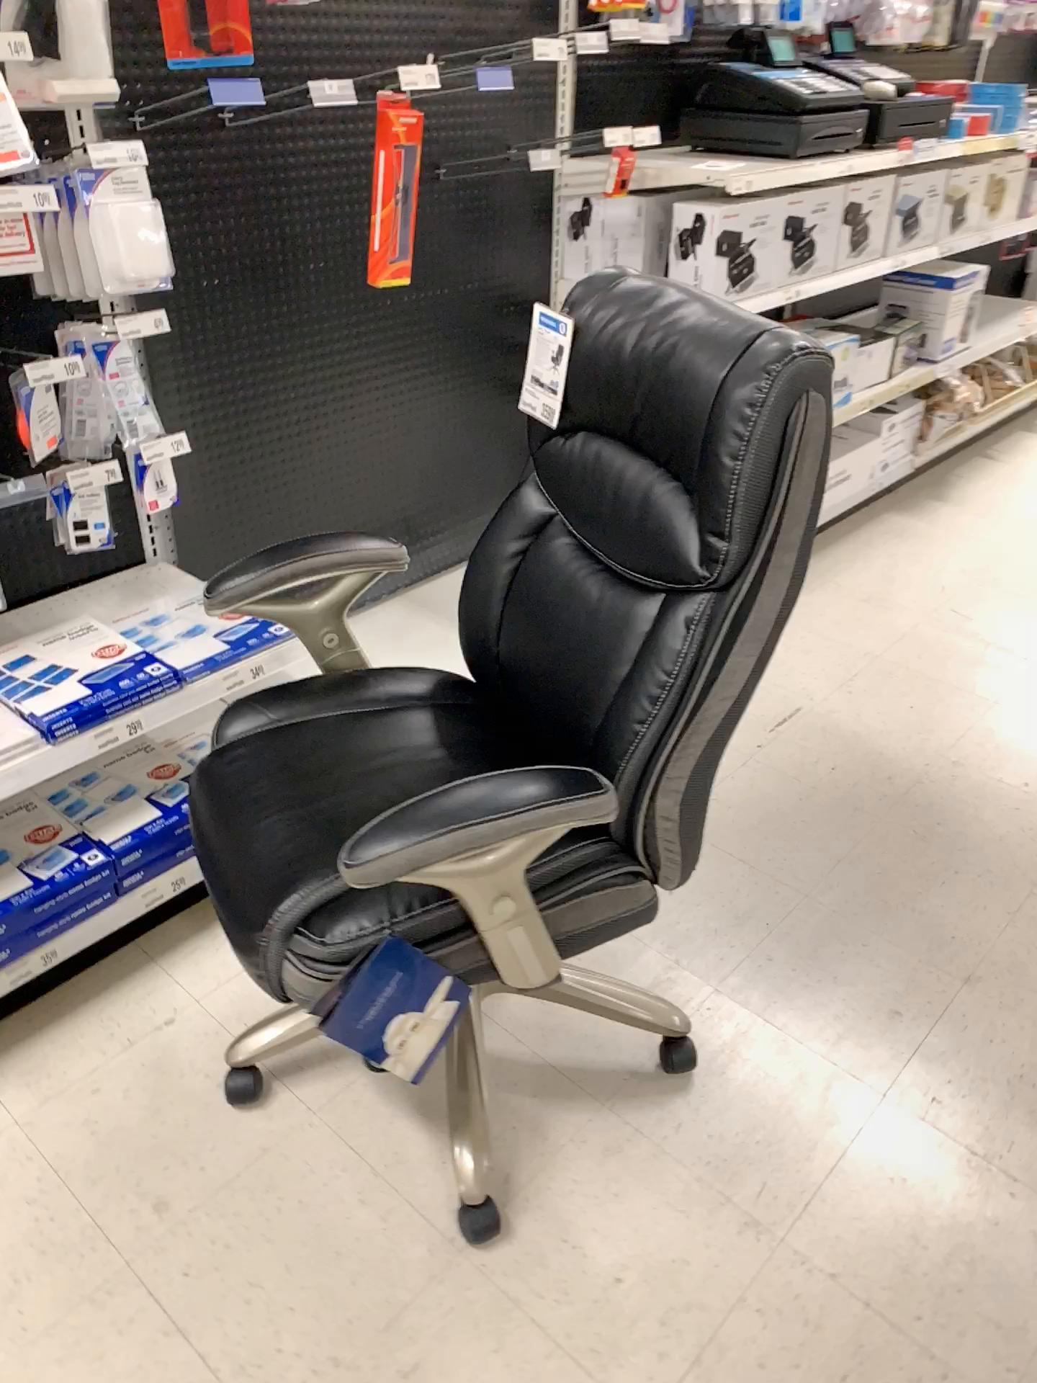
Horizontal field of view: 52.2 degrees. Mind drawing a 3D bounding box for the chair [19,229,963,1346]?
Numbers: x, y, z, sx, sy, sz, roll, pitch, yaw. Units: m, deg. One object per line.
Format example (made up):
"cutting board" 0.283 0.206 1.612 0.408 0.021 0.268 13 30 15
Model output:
"chair" -0.099 0.056 1.405 0.741 1.094 0.743 -15 36 -24
